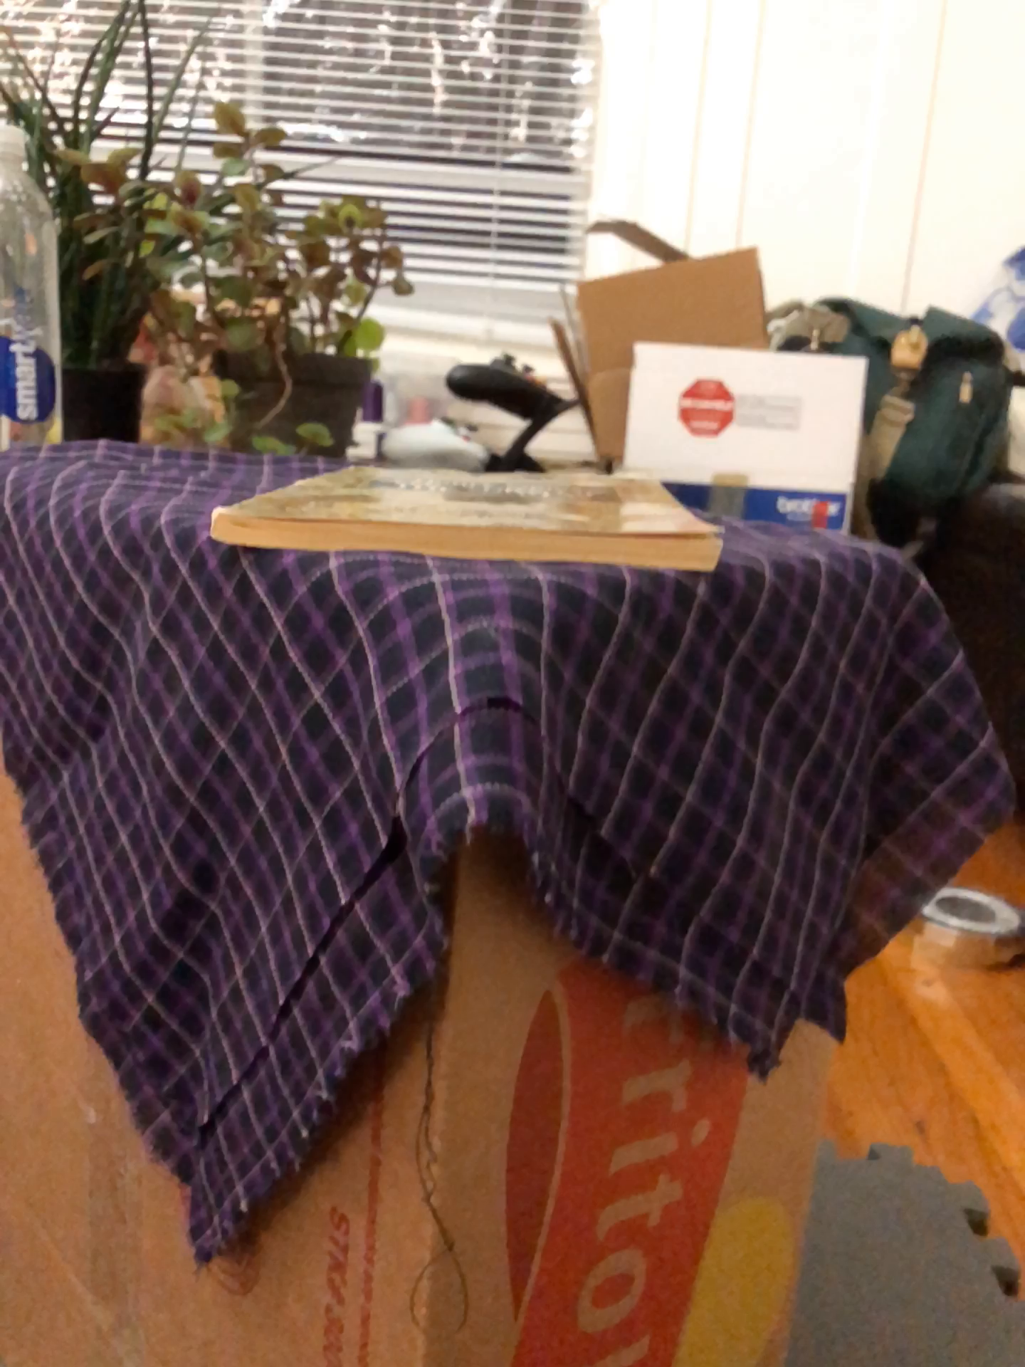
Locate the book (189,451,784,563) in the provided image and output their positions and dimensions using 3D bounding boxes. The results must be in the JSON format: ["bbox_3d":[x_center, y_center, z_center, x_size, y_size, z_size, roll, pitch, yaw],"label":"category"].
[{"bbox_3d":[-0.004,-0.063,0.376,0.140,0.010,0.221,4,13,1],"label":"book"}]
